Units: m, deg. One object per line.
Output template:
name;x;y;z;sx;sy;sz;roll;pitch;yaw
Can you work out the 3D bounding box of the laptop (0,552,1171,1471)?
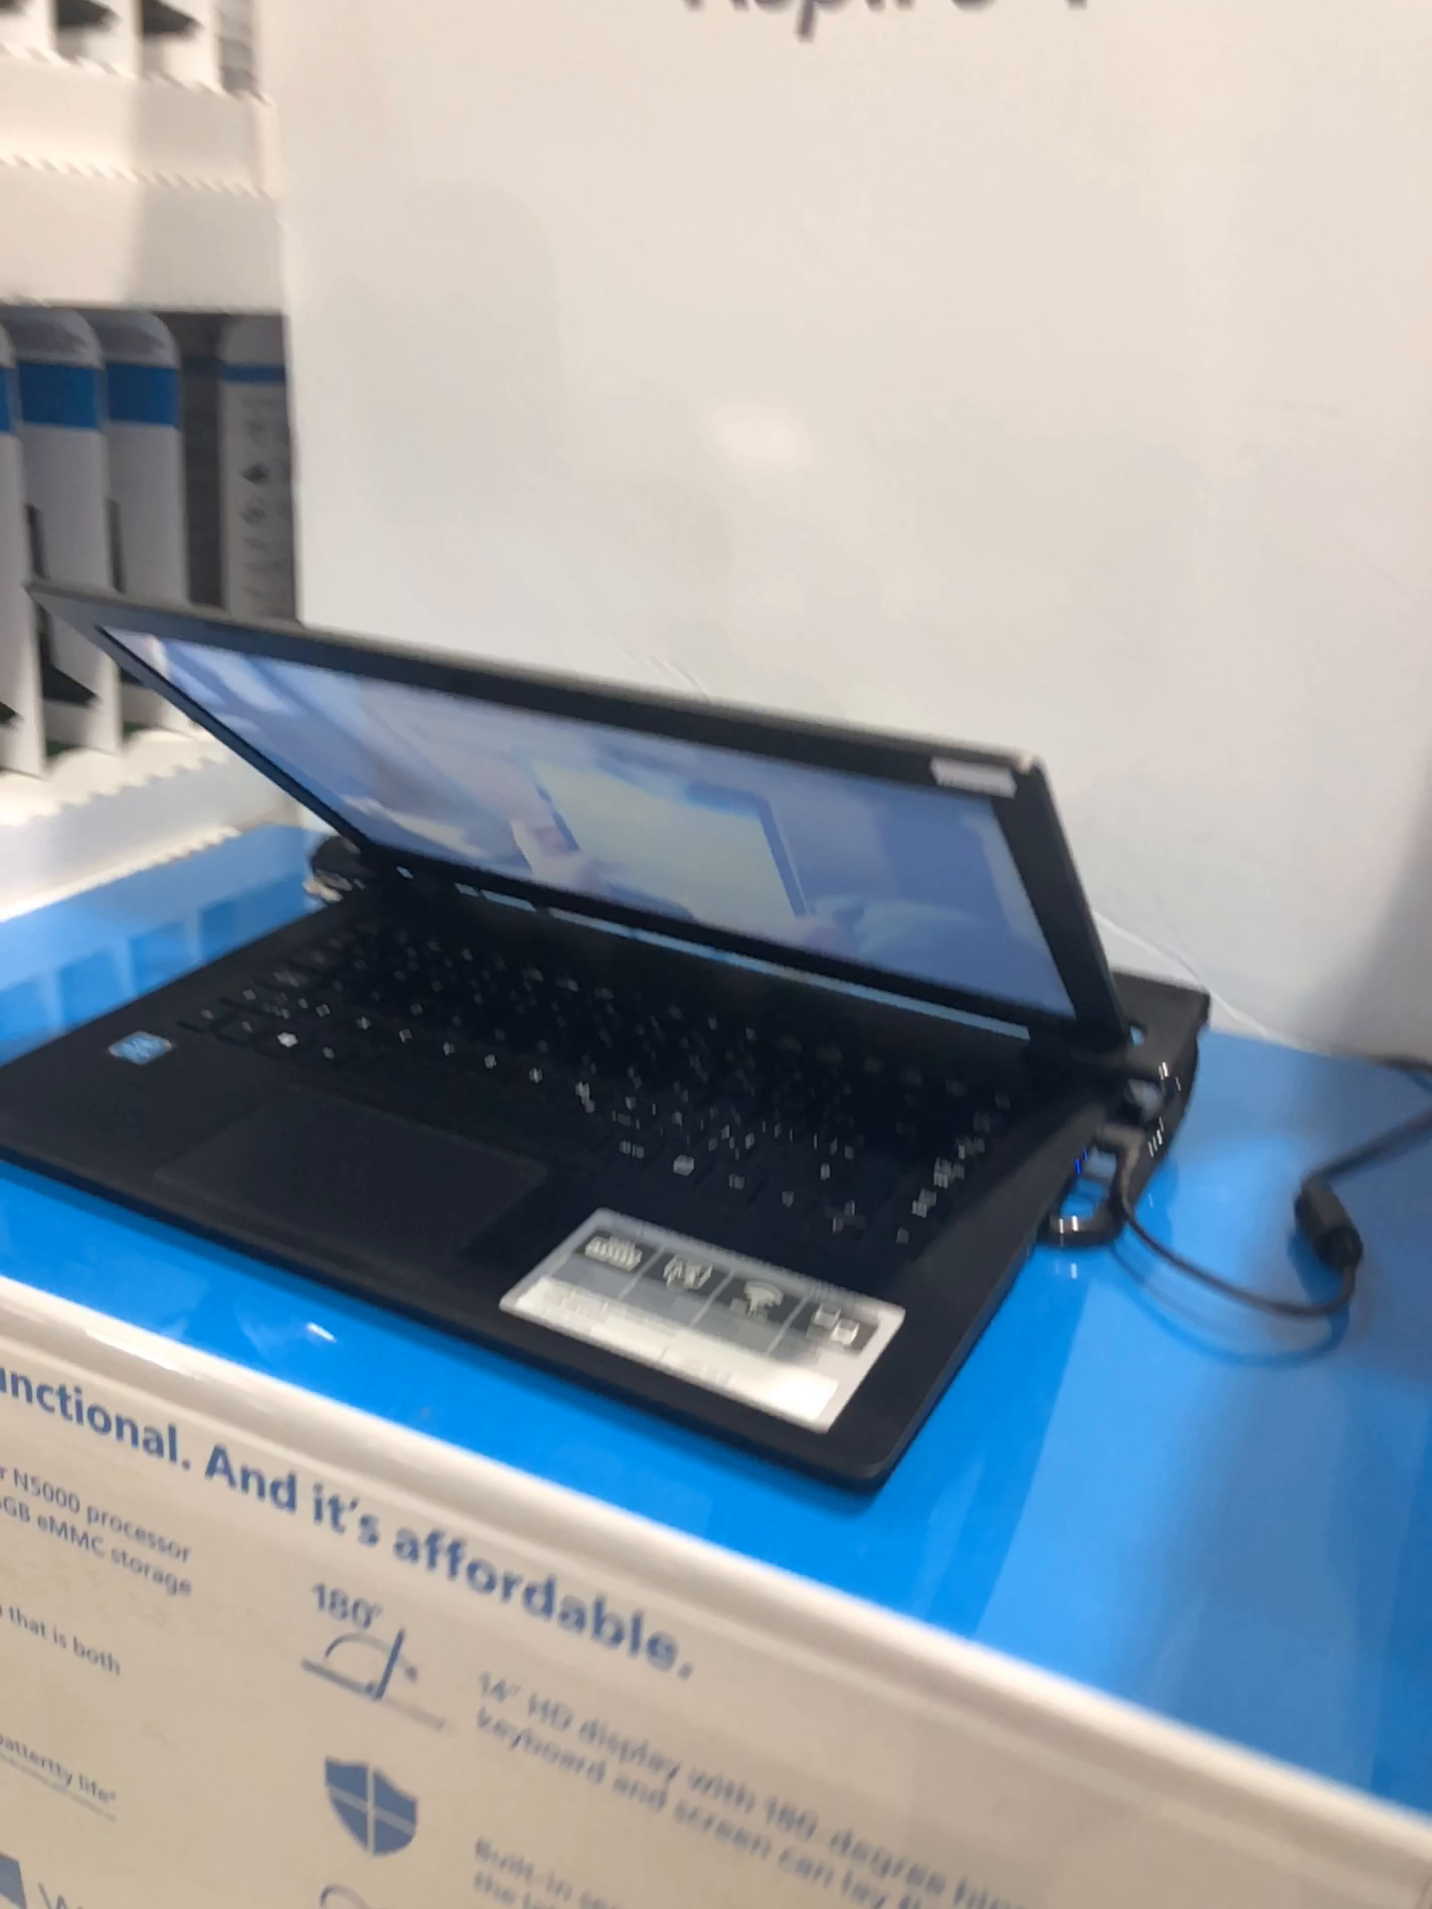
laptop;-0.056;-0.020;0.509;0.333;0.145;0.206;14;26;26
